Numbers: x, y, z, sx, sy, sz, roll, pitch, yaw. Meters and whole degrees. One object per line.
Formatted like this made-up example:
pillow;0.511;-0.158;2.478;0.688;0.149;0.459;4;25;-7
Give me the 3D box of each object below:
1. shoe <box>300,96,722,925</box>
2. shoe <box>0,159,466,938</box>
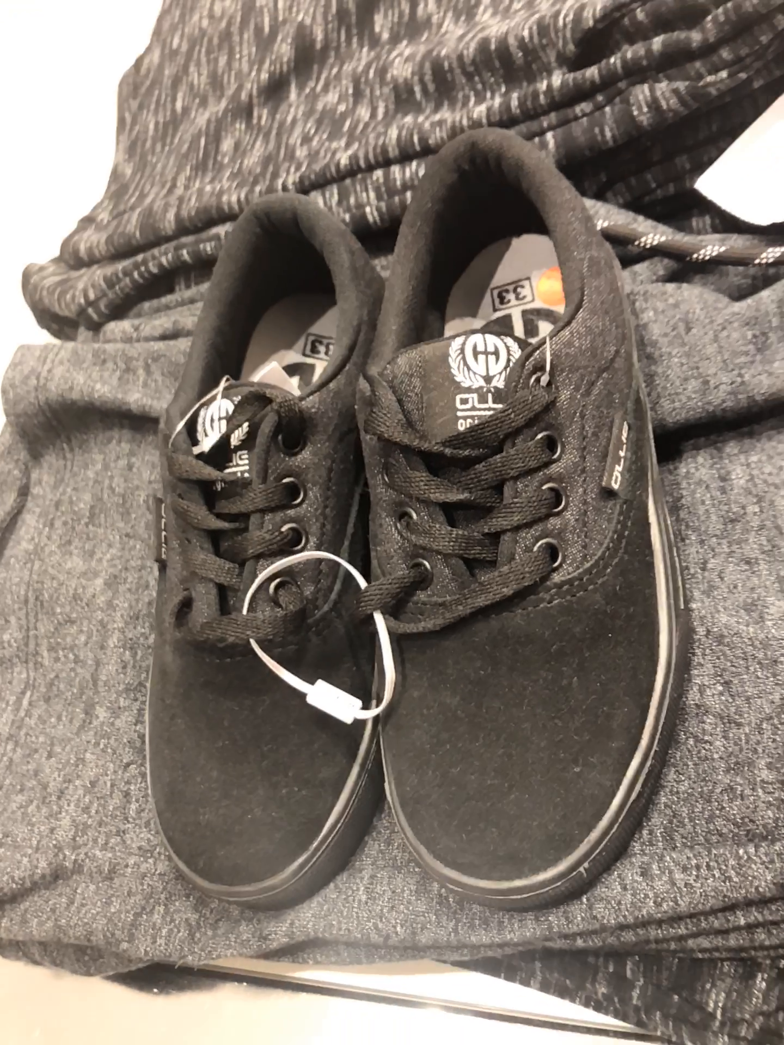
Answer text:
shoe;0.042;-0.011;0.275;0.090;0.080;0.241;-3;62;15
shoe;-0.041;0.001;0.275;0.090;0.080;0.221;1;63;17
